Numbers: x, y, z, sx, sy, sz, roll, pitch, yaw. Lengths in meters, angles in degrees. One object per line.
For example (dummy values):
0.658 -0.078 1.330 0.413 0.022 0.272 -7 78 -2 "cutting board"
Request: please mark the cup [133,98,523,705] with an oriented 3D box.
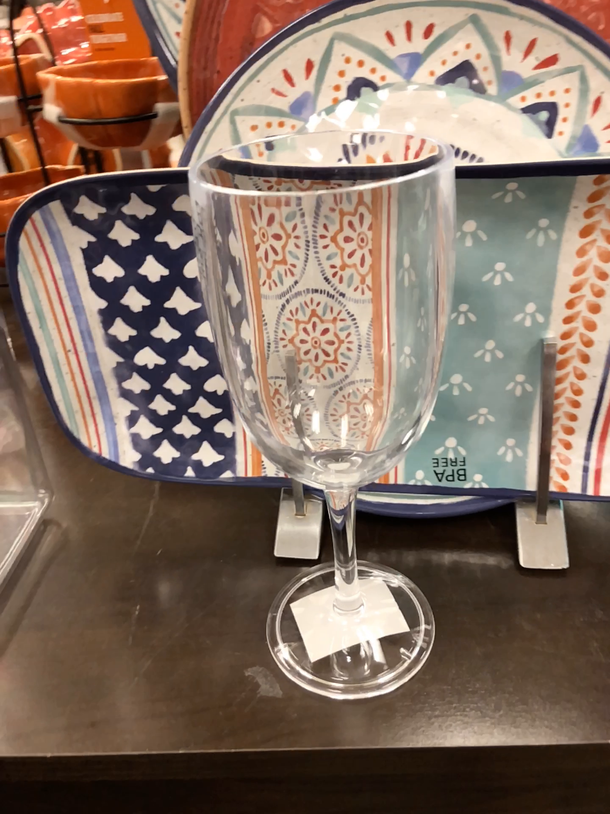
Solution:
0.013 0.007 0.245 0.090 0.200 0.085 -4 32 2 "cup"
